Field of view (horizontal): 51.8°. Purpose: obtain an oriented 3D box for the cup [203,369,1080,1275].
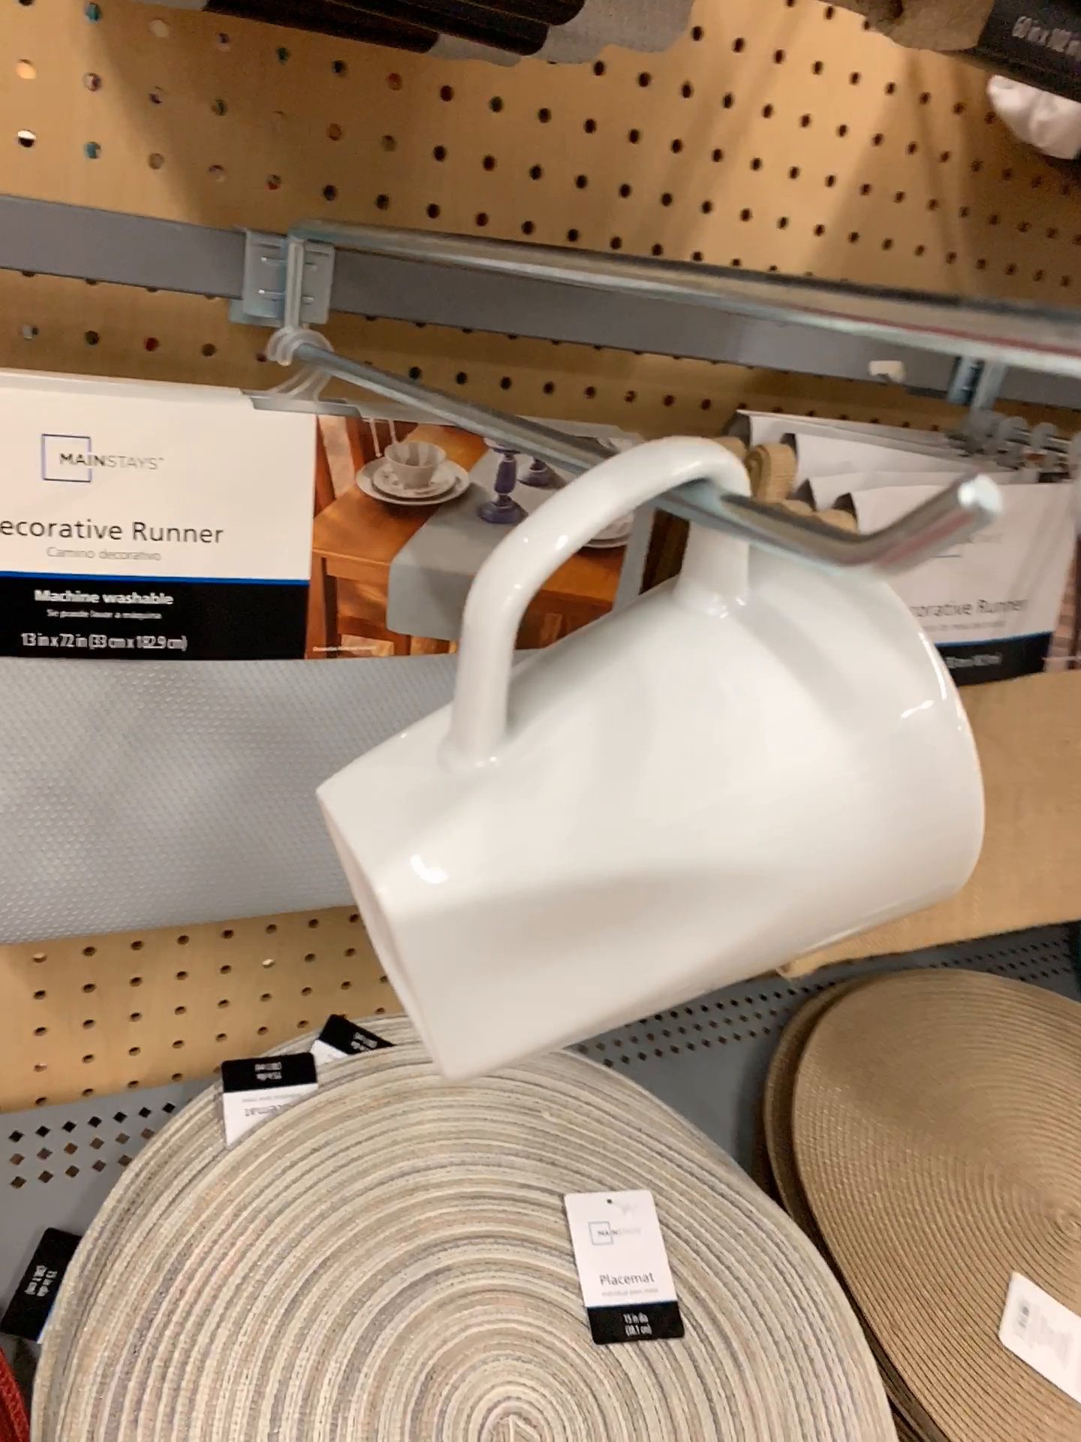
[{"bbox_3d":[0.022,0.008,0.224,0.140,0.119,0.090,-15,32,-18],"label":"cup"}]
